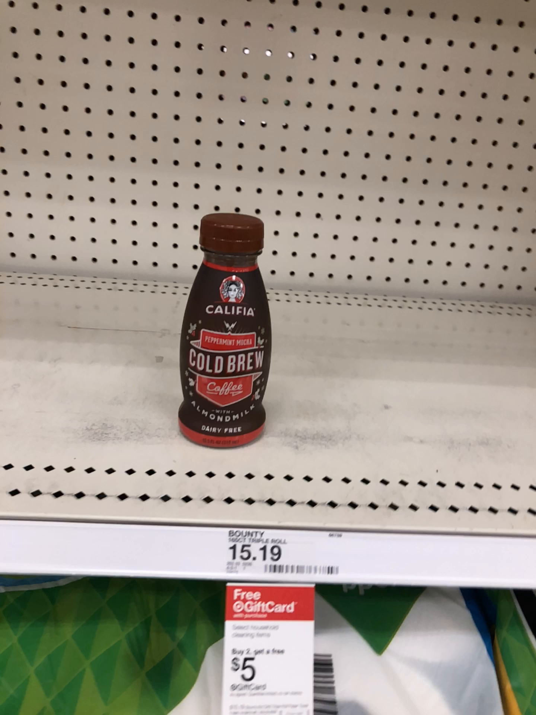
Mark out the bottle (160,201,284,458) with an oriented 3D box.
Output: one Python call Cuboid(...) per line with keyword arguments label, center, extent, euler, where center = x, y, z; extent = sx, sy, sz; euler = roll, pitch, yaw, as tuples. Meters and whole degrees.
Cuboid(label="bottle", center=(-0.030, -0.020, 0.401), extent=(0.070, 0.149, 0.080), euler=(4, 25, 0))
